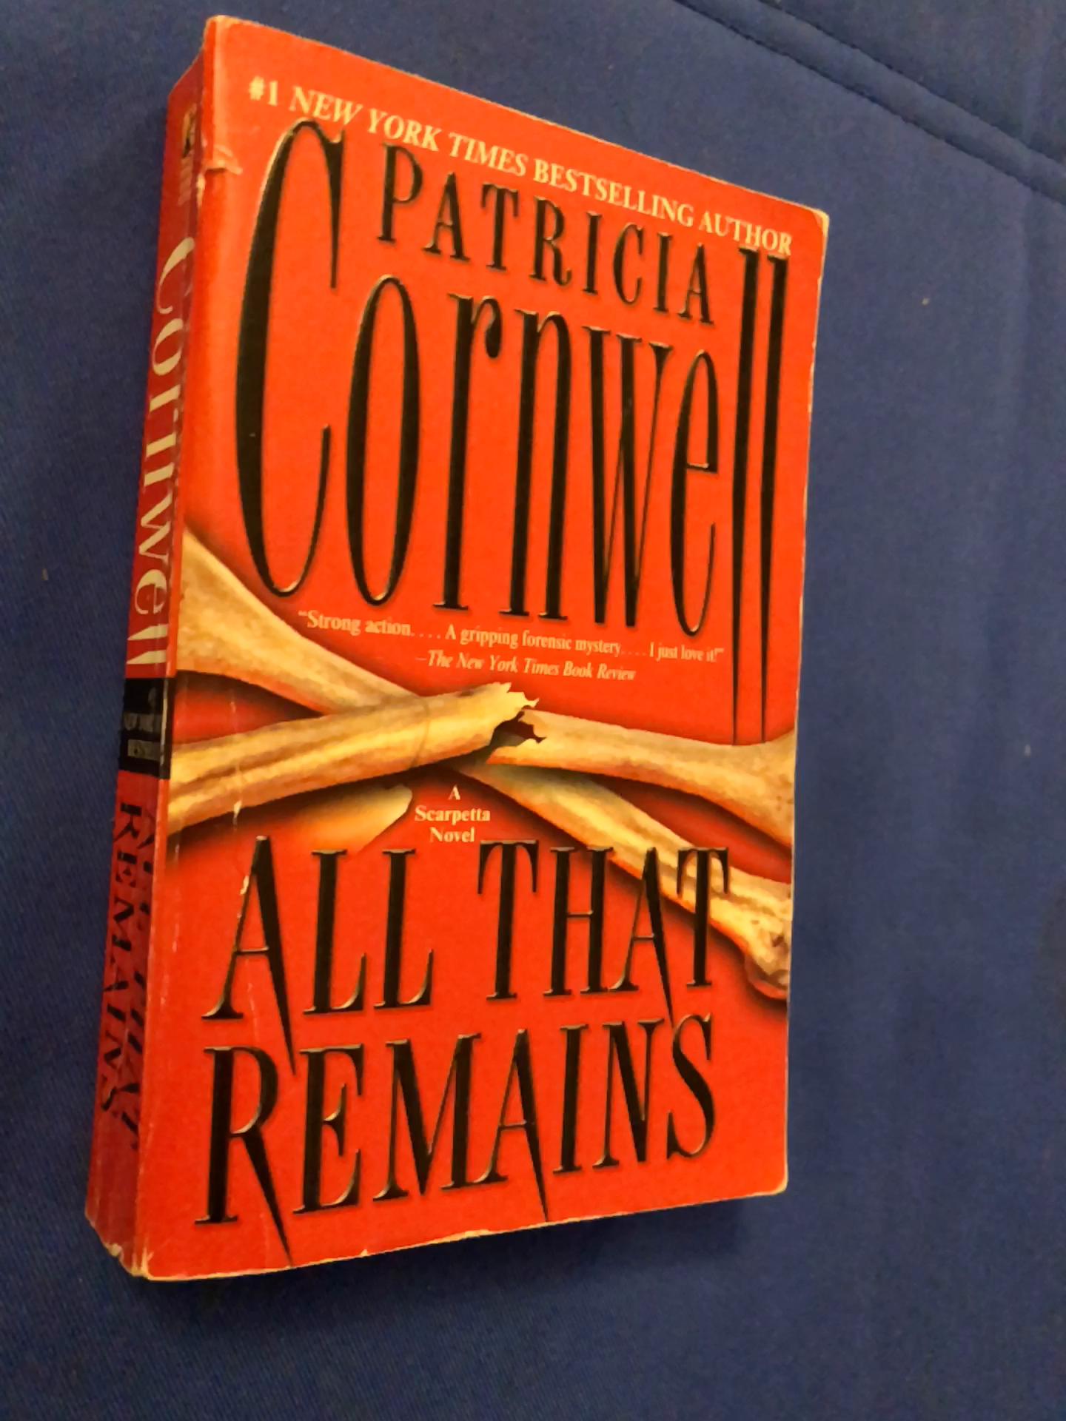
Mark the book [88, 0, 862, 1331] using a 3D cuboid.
[{"bbox_3d":[-0.004,-0.005,0.186,0.110,0.030,0.166,4,89,-29],"label":"book"}]
